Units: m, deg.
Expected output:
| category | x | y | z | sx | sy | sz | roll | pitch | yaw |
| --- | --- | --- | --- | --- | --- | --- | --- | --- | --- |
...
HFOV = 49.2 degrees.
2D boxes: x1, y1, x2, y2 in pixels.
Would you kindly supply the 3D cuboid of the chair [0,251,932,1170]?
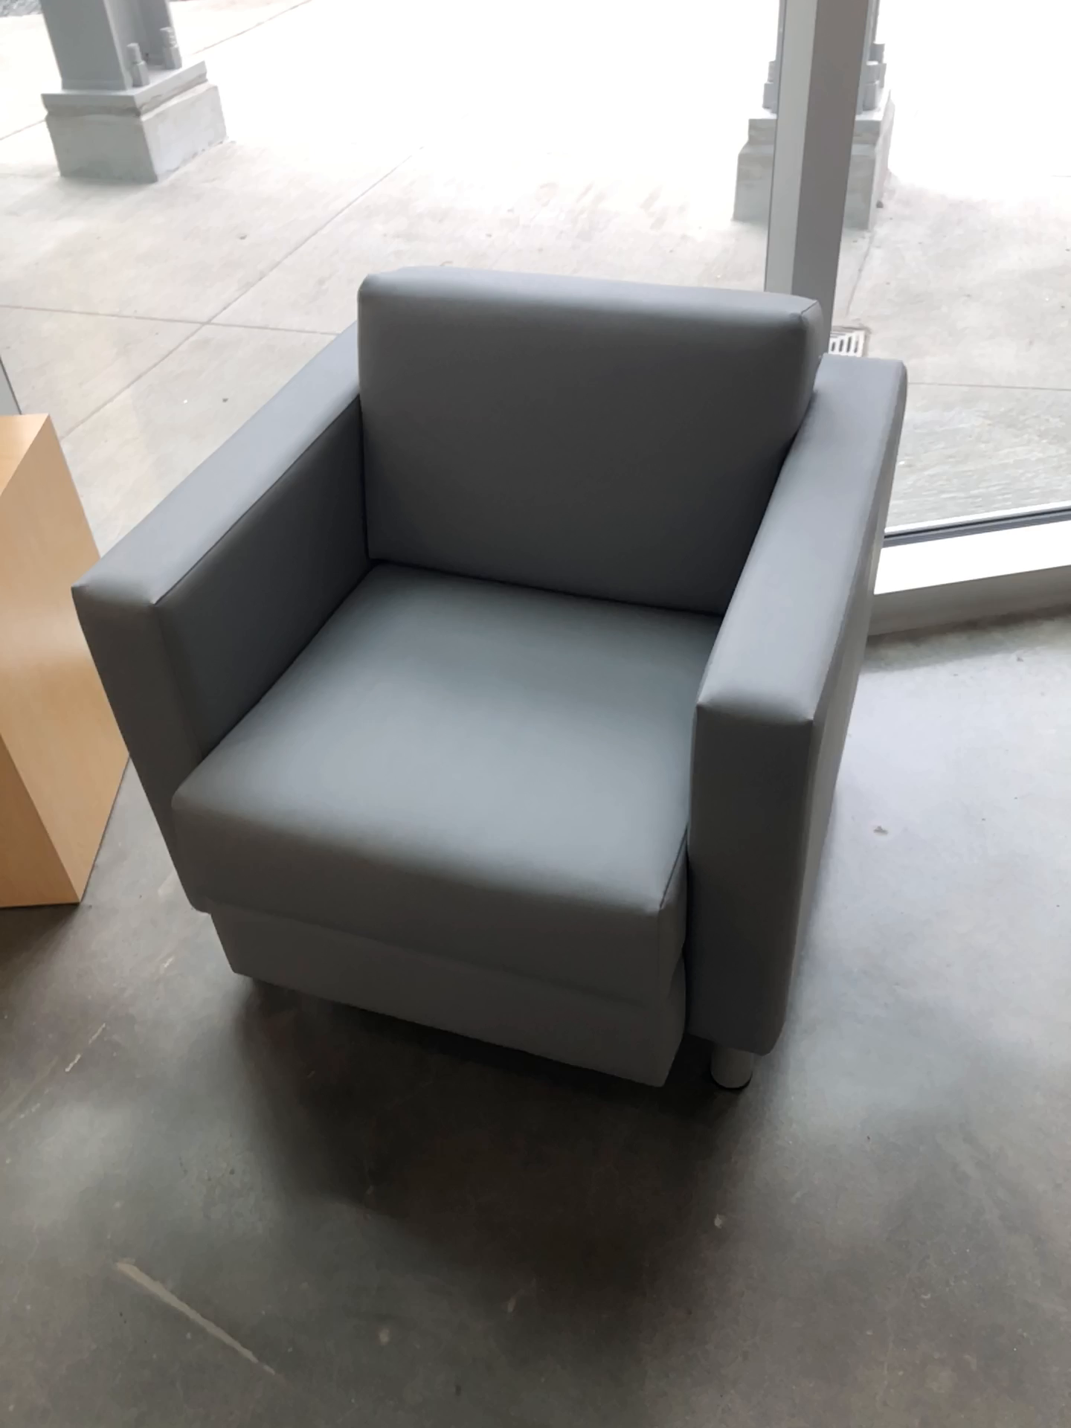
| category | x | y | z | sx | sy | sz | roll | pitch | yaw |
| --- | --- | --- | --- | --- | --- | --- | --- | --- | --- |
| chair | 0.008 | -0.062 | 1.478 | 0.771 | 0.695 | 0.785 | 11 | 44 | 16 |
